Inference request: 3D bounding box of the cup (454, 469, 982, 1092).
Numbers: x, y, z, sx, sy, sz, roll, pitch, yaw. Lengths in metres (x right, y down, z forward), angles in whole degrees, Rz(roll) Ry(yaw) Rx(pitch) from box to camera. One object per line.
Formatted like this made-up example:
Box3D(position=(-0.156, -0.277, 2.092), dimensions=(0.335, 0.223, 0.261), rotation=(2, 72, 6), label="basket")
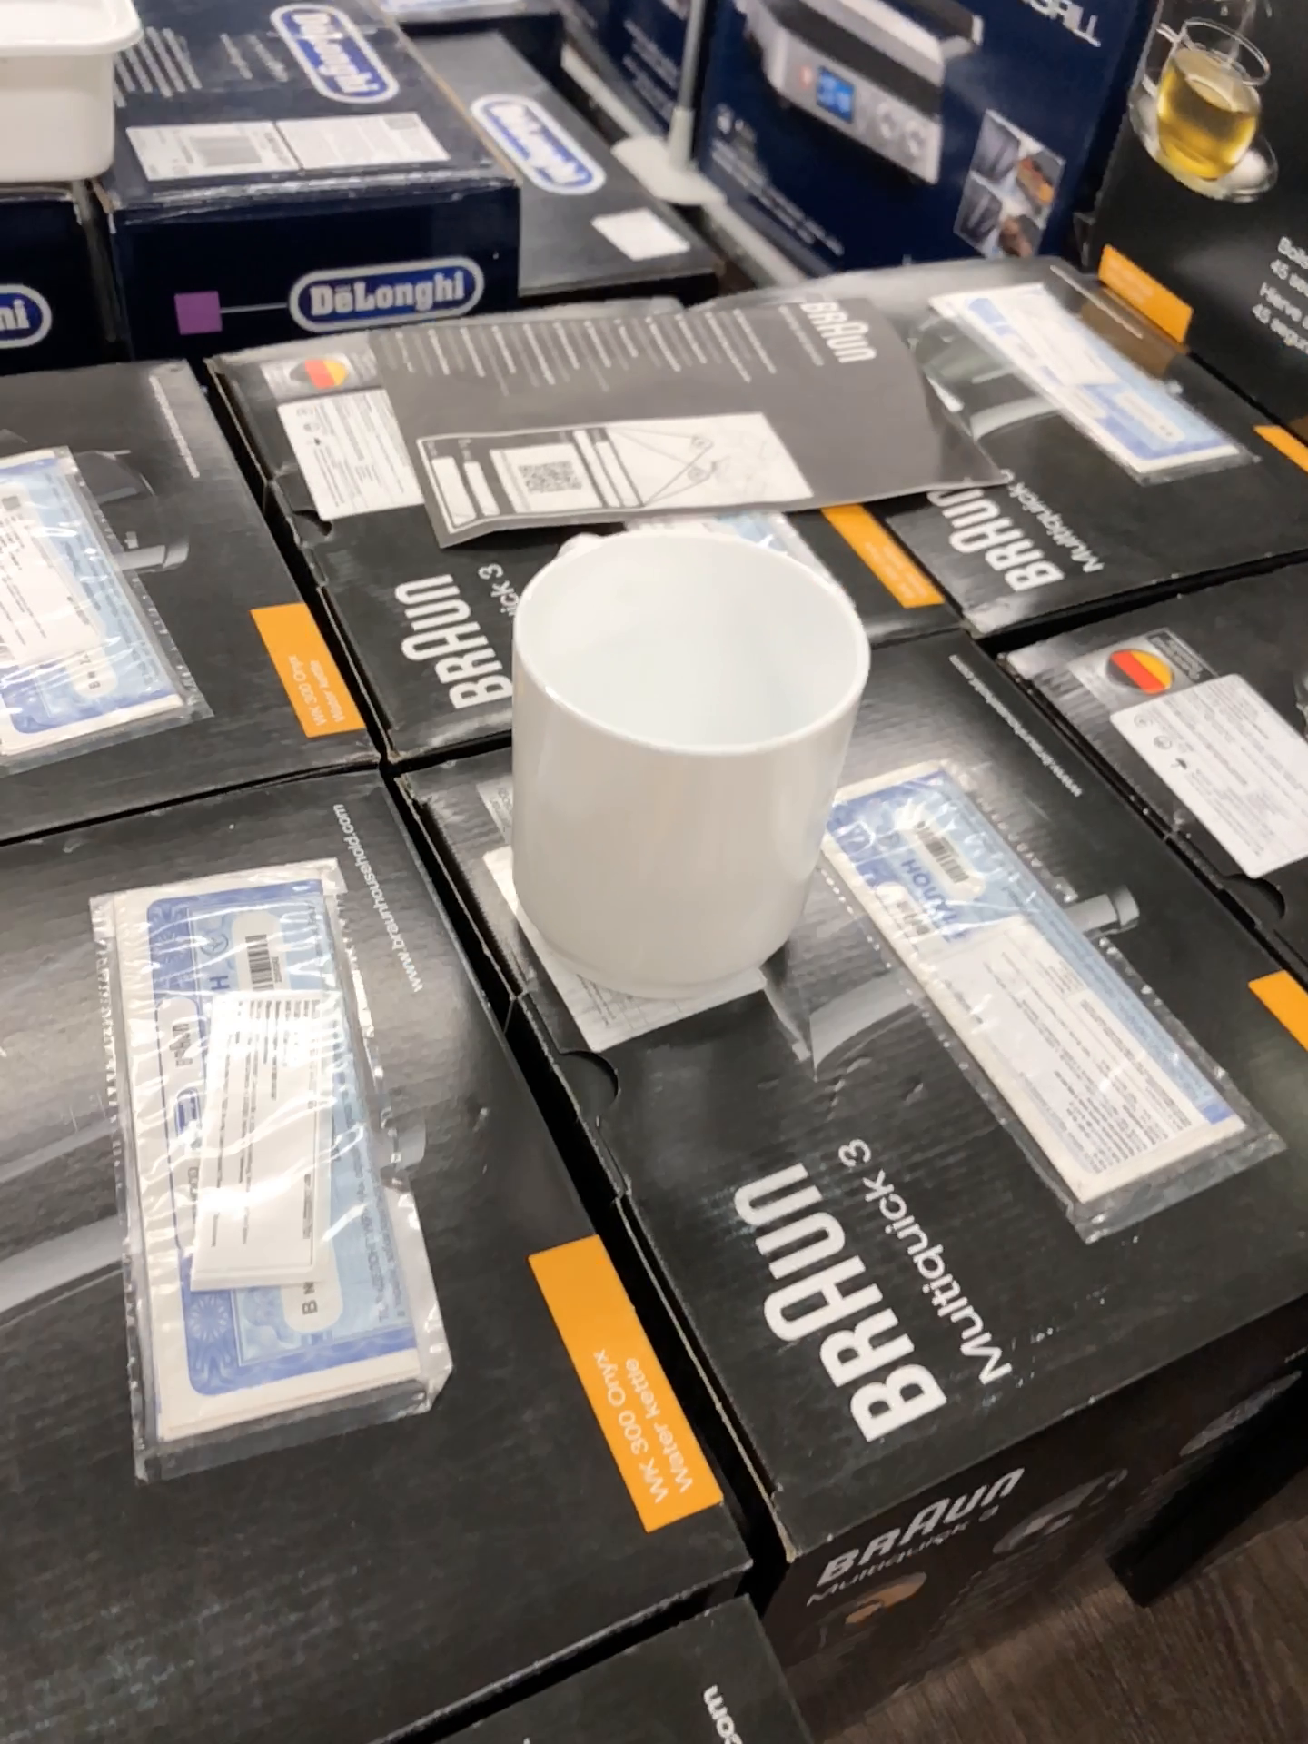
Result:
Box3D(position=(0.006, -0.026, 0.356), dimensions=(0.082, 0.091, 0.111), rotation=(-11, 47, -19), label="cup")
